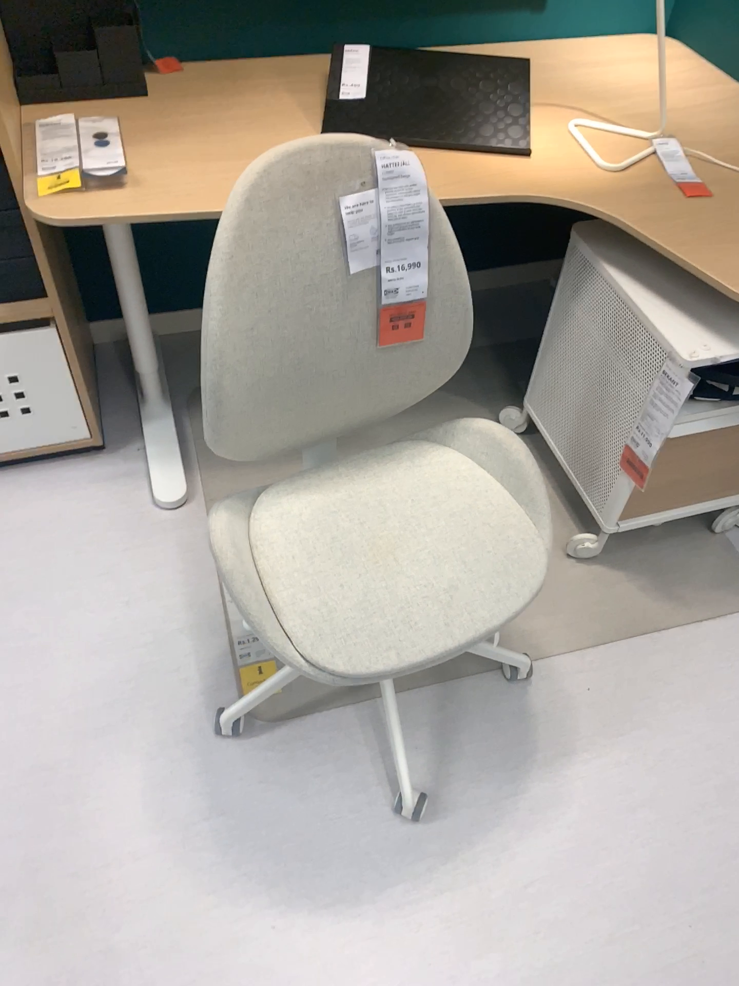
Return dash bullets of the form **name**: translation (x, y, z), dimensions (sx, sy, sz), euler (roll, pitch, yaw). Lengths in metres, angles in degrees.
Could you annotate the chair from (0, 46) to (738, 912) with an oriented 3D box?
- **chair**: translation (-0.029, 0.030, 1.126), dimensions (0.630, 0.997, 0.642), euler (-20, 53, -19)
